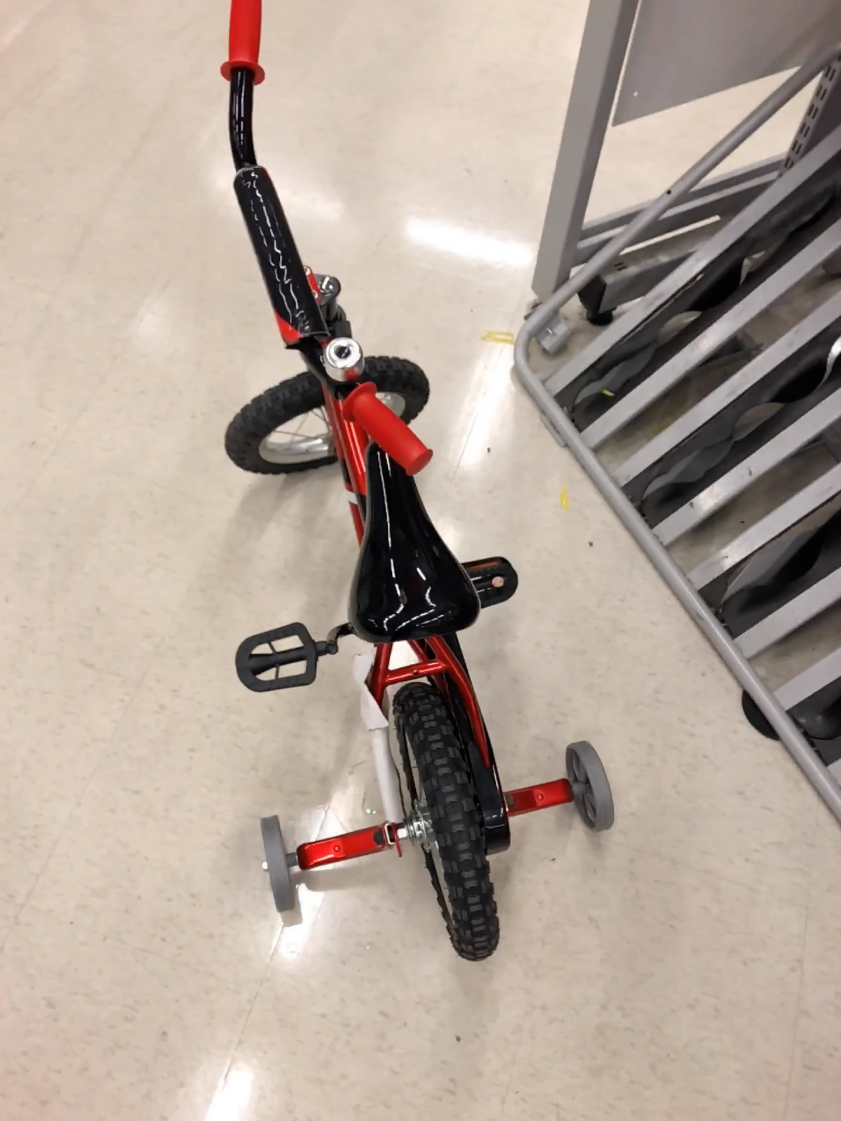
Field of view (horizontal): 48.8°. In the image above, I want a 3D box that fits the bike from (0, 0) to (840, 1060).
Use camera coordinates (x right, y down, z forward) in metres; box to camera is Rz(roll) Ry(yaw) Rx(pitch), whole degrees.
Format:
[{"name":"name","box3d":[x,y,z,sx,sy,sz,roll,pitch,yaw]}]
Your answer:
[{"name":"bike","box3d":[-0.082,0.005,0.912,0.531,0.679,0.701,-20,63,-15]}]
